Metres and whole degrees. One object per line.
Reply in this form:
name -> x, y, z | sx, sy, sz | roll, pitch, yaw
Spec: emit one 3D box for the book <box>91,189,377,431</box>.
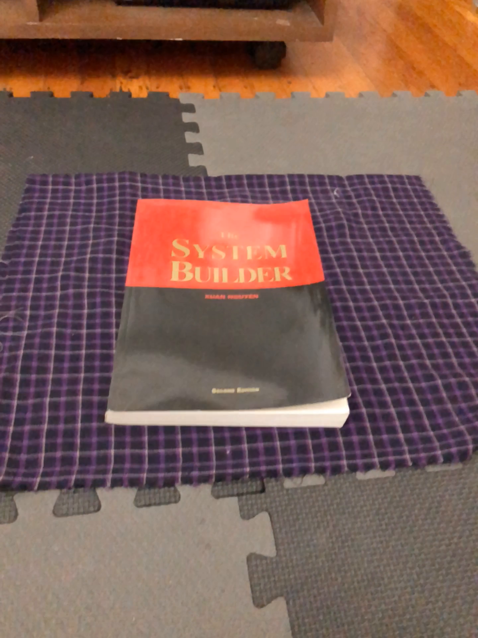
book -> -0.008, -0.024, 0.469 | 0.200, 0.030, 0.262 | 1, 47, -4
